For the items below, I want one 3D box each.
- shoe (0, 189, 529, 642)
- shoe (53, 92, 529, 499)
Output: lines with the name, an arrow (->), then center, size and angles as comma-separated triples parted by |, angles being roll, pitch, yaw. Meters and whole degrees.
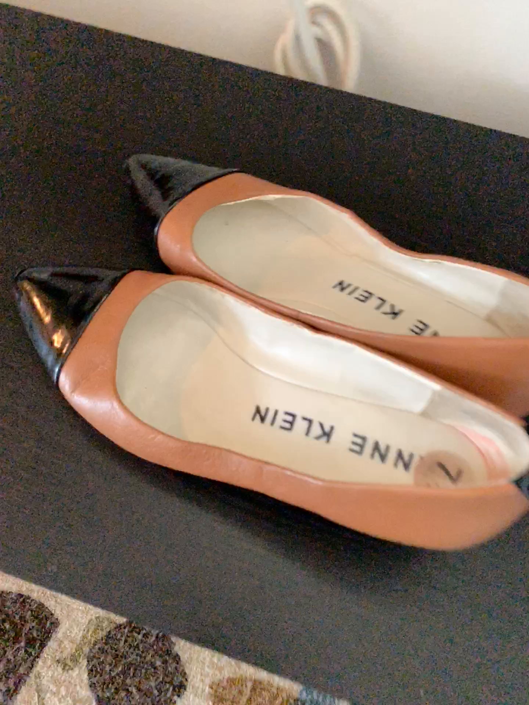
shoe -> -0.022, 0.011, 0.252 | 0.260, 0.079, 0.090 | 22, 62, 25
shoe -> 0.019, -0.045, 0.278 | 0.261, 0.079, 0.080 | 30, 65, 27
